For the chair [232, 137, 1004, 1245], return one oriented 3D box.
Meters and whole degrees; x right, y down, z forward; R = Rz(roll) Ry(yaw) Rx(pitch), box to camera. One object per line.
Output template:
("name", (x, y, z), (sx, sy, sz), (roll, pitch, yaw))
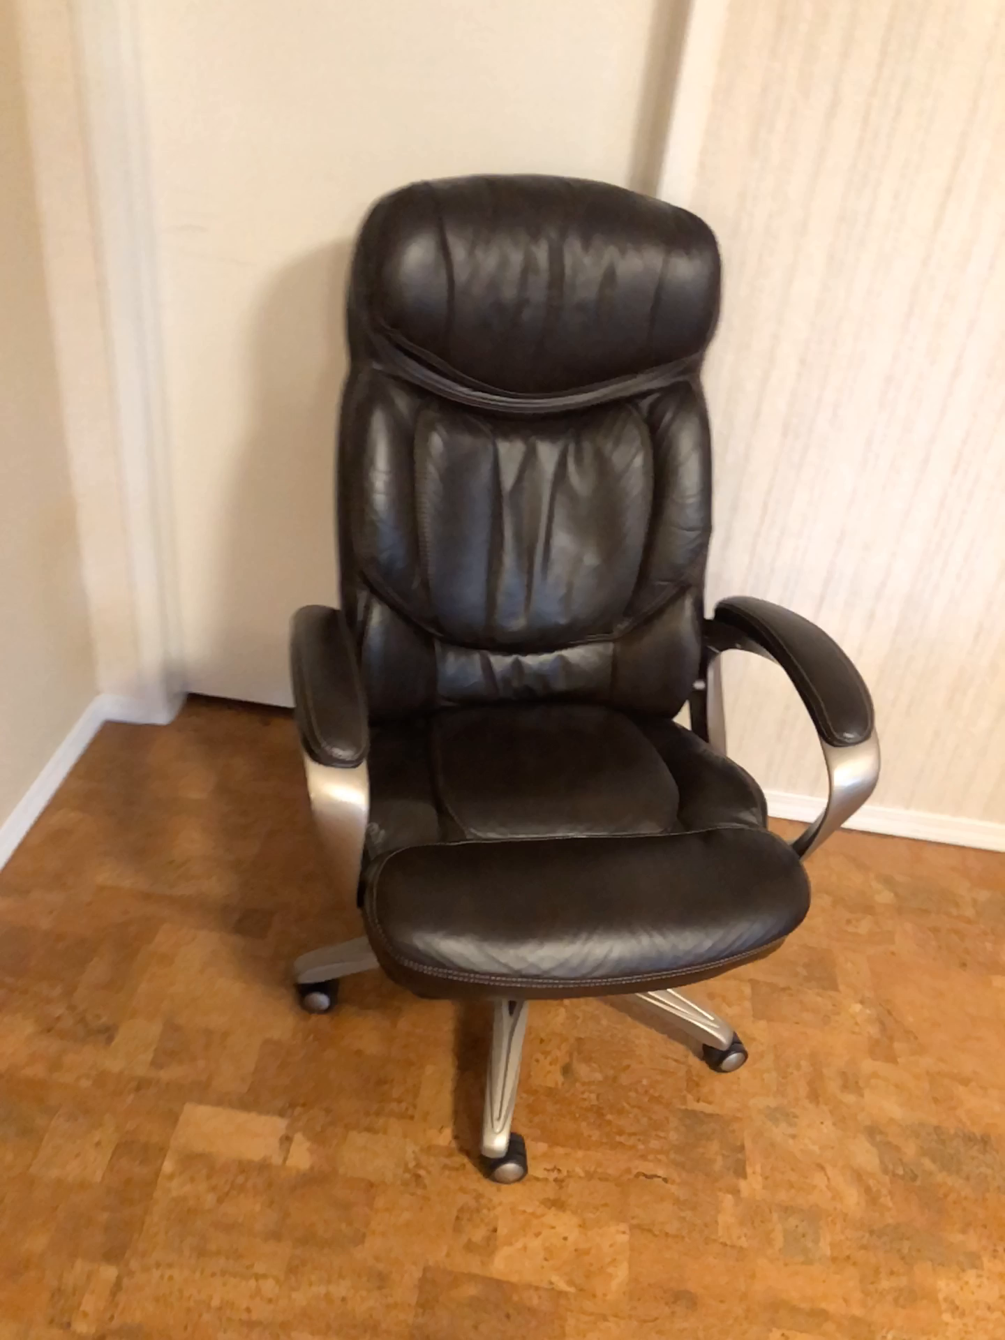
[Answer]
("chair", (0.059, 0.028, 1.337), (0.690, 1.086, 0.652), (-3, 35, -15))
